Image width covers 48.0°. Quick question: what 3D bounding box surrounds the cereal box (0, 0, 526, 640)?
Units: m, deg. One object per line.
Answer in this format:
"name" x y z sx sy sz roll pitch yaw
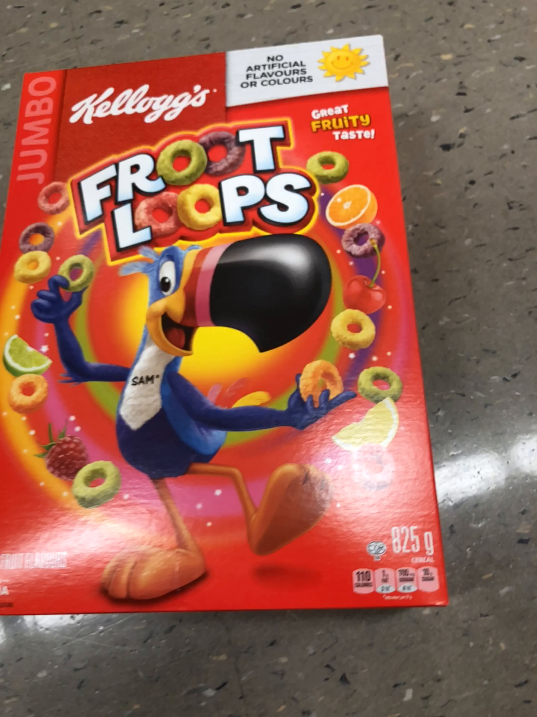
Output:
"cereal box" -0.032 -0.039 0.354 0.270 0.080 0.360 -4 69 6
